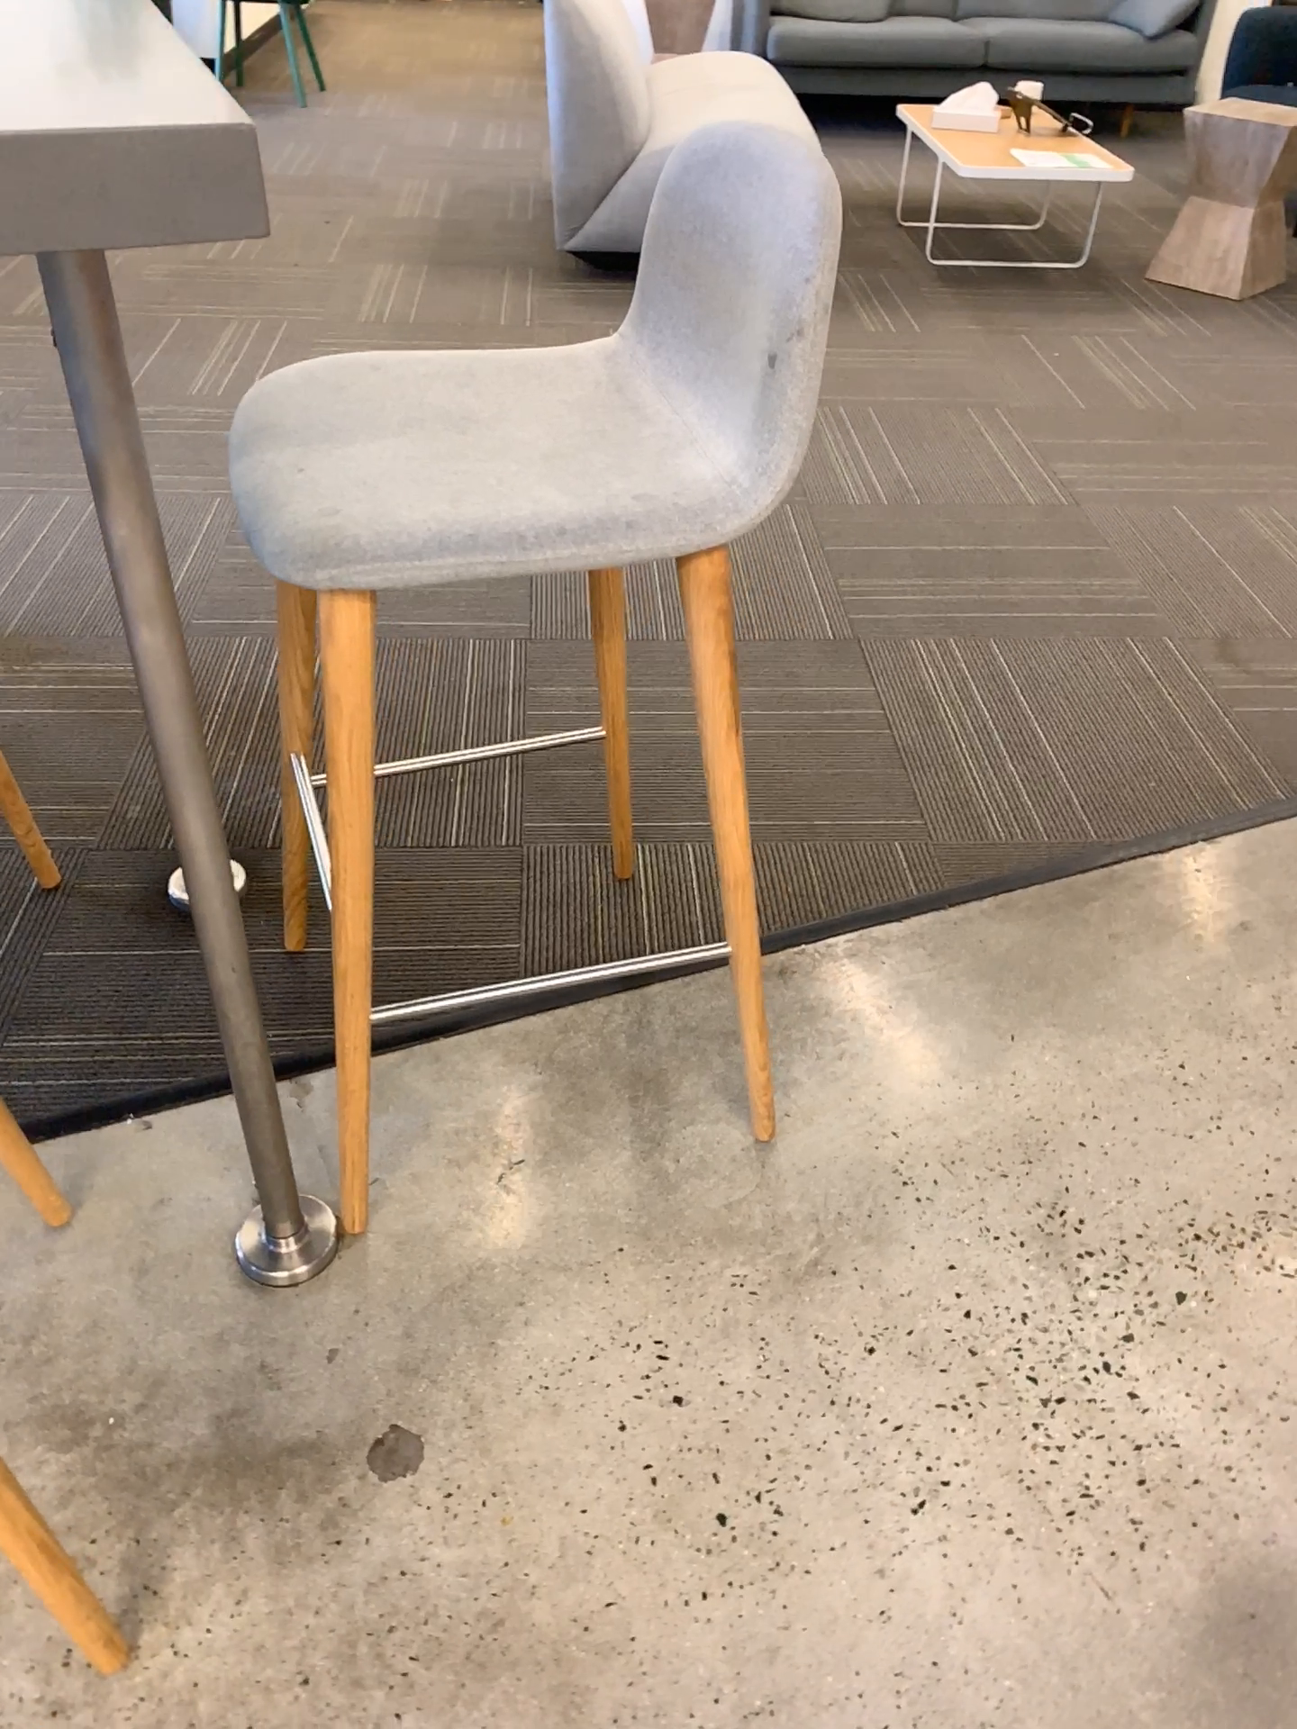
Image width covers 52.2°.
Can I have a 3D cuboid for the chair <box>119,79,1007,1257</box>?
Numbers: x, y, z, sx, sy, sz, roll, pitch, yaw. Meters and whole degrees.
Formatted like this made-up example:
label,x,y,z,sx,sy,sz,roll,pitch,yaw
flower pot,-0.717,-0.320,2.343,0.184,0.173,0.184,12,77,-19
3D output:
label,x,y,z,sx,sy,sz,roll,pitch,yaw
chair,-0.133,-0.199,1.316,0.550,0.924,0.594,-10,40,-16
